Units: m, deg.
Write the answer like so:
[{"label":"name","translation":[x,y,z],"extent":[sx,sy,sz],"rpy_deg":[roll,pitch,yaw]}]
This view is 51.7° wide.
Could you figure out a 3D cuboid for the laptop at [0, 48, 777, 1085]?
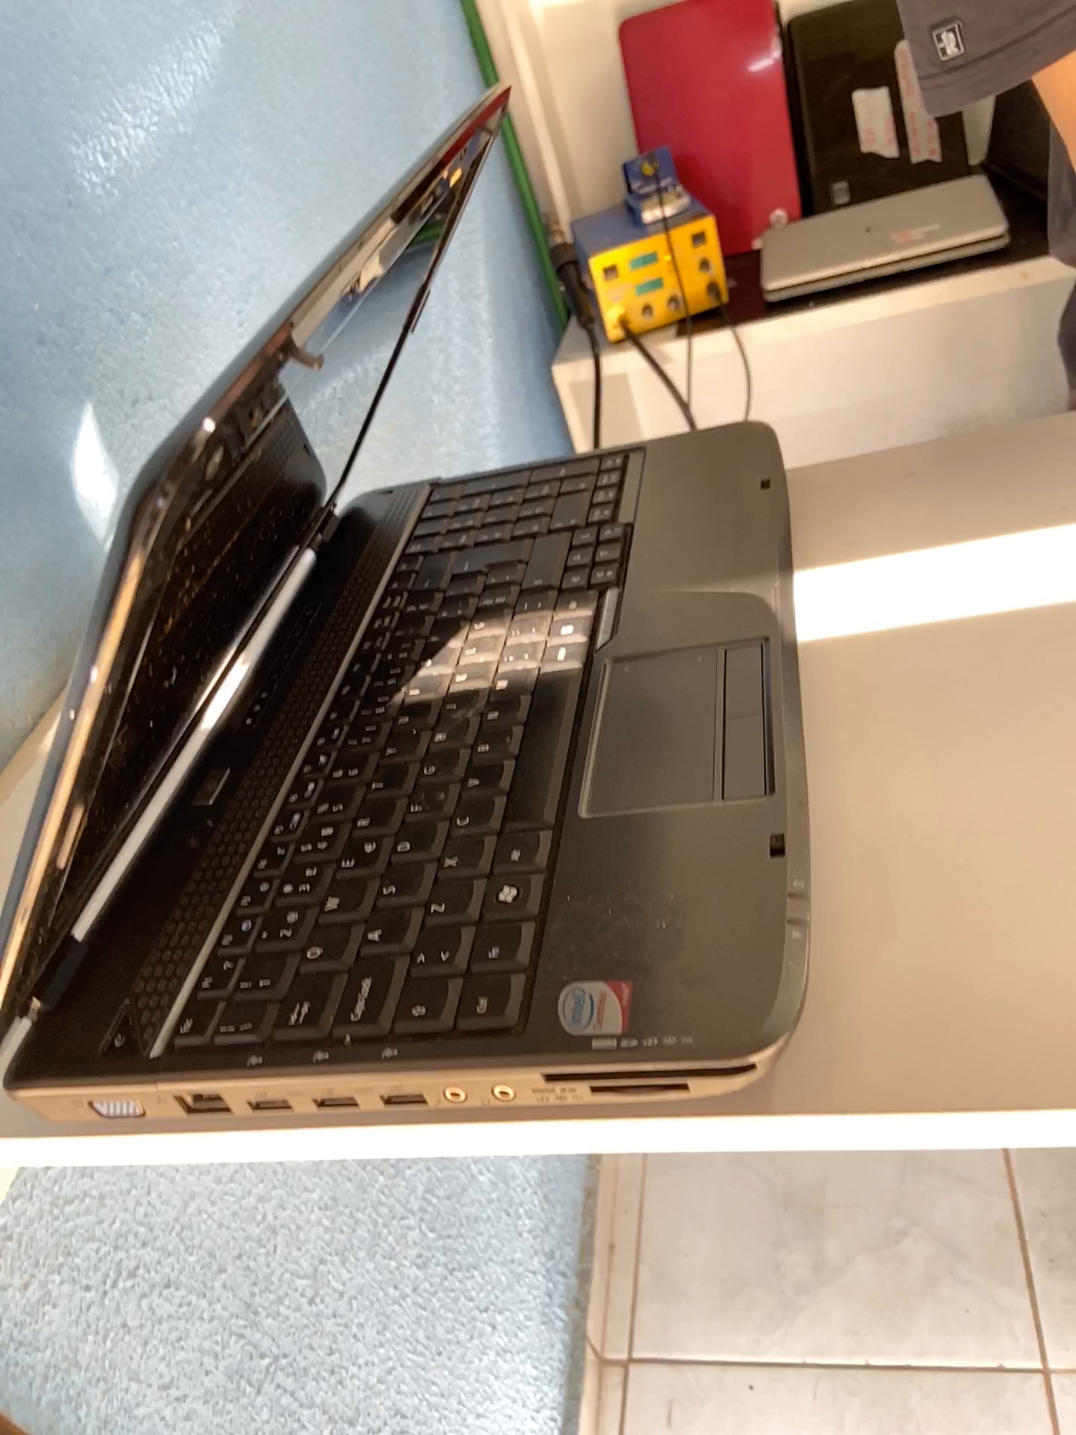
[{"label":"laptop","translation":[-0.056,-0.086,0.407],"extent":[0.235,0.174,0.380],"rpy_deg":[-9,35,17]}]
